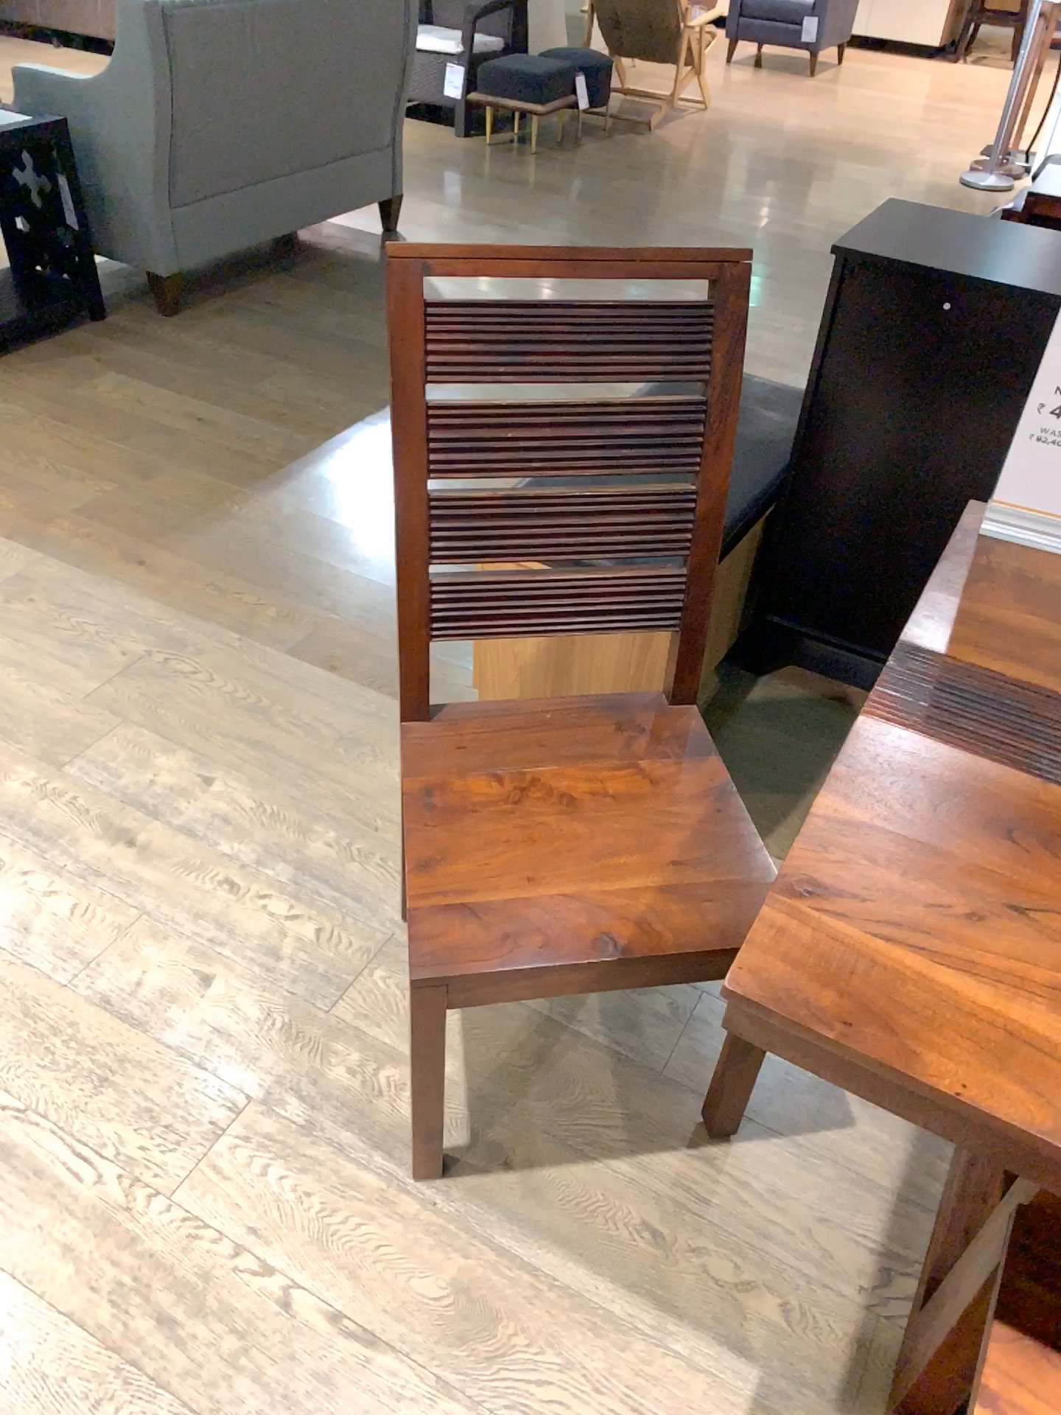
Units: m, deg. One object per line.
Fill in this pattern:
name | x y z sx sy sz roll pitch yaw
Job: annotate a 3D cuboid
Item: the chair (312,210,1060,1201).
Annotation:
chair | 0.052 0.031 1.253 0.520 0.996 0.532 -4 40 -10
